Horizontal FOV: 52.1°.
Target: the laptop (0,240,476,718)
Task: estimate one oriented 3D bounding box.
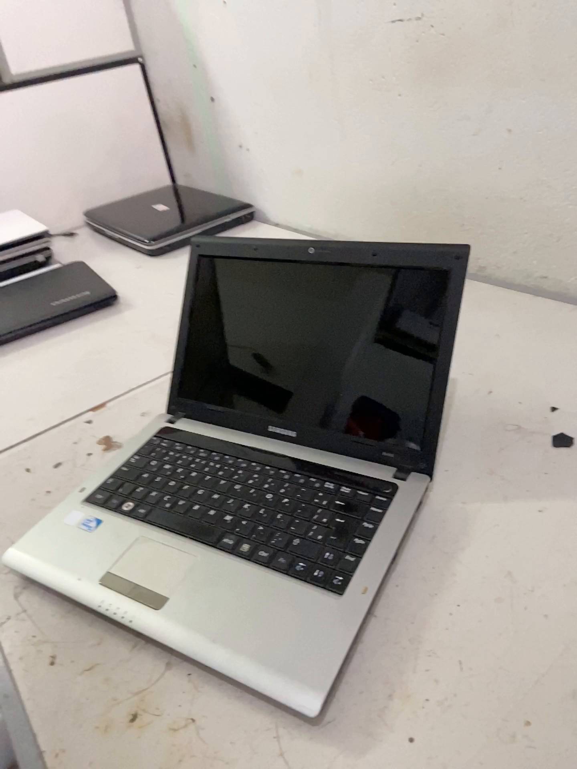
[{"bbox_3d":[-0.050,0.020,0.540,0.335,0.172,0.363,10,37,30],"label":"laptop"}]
